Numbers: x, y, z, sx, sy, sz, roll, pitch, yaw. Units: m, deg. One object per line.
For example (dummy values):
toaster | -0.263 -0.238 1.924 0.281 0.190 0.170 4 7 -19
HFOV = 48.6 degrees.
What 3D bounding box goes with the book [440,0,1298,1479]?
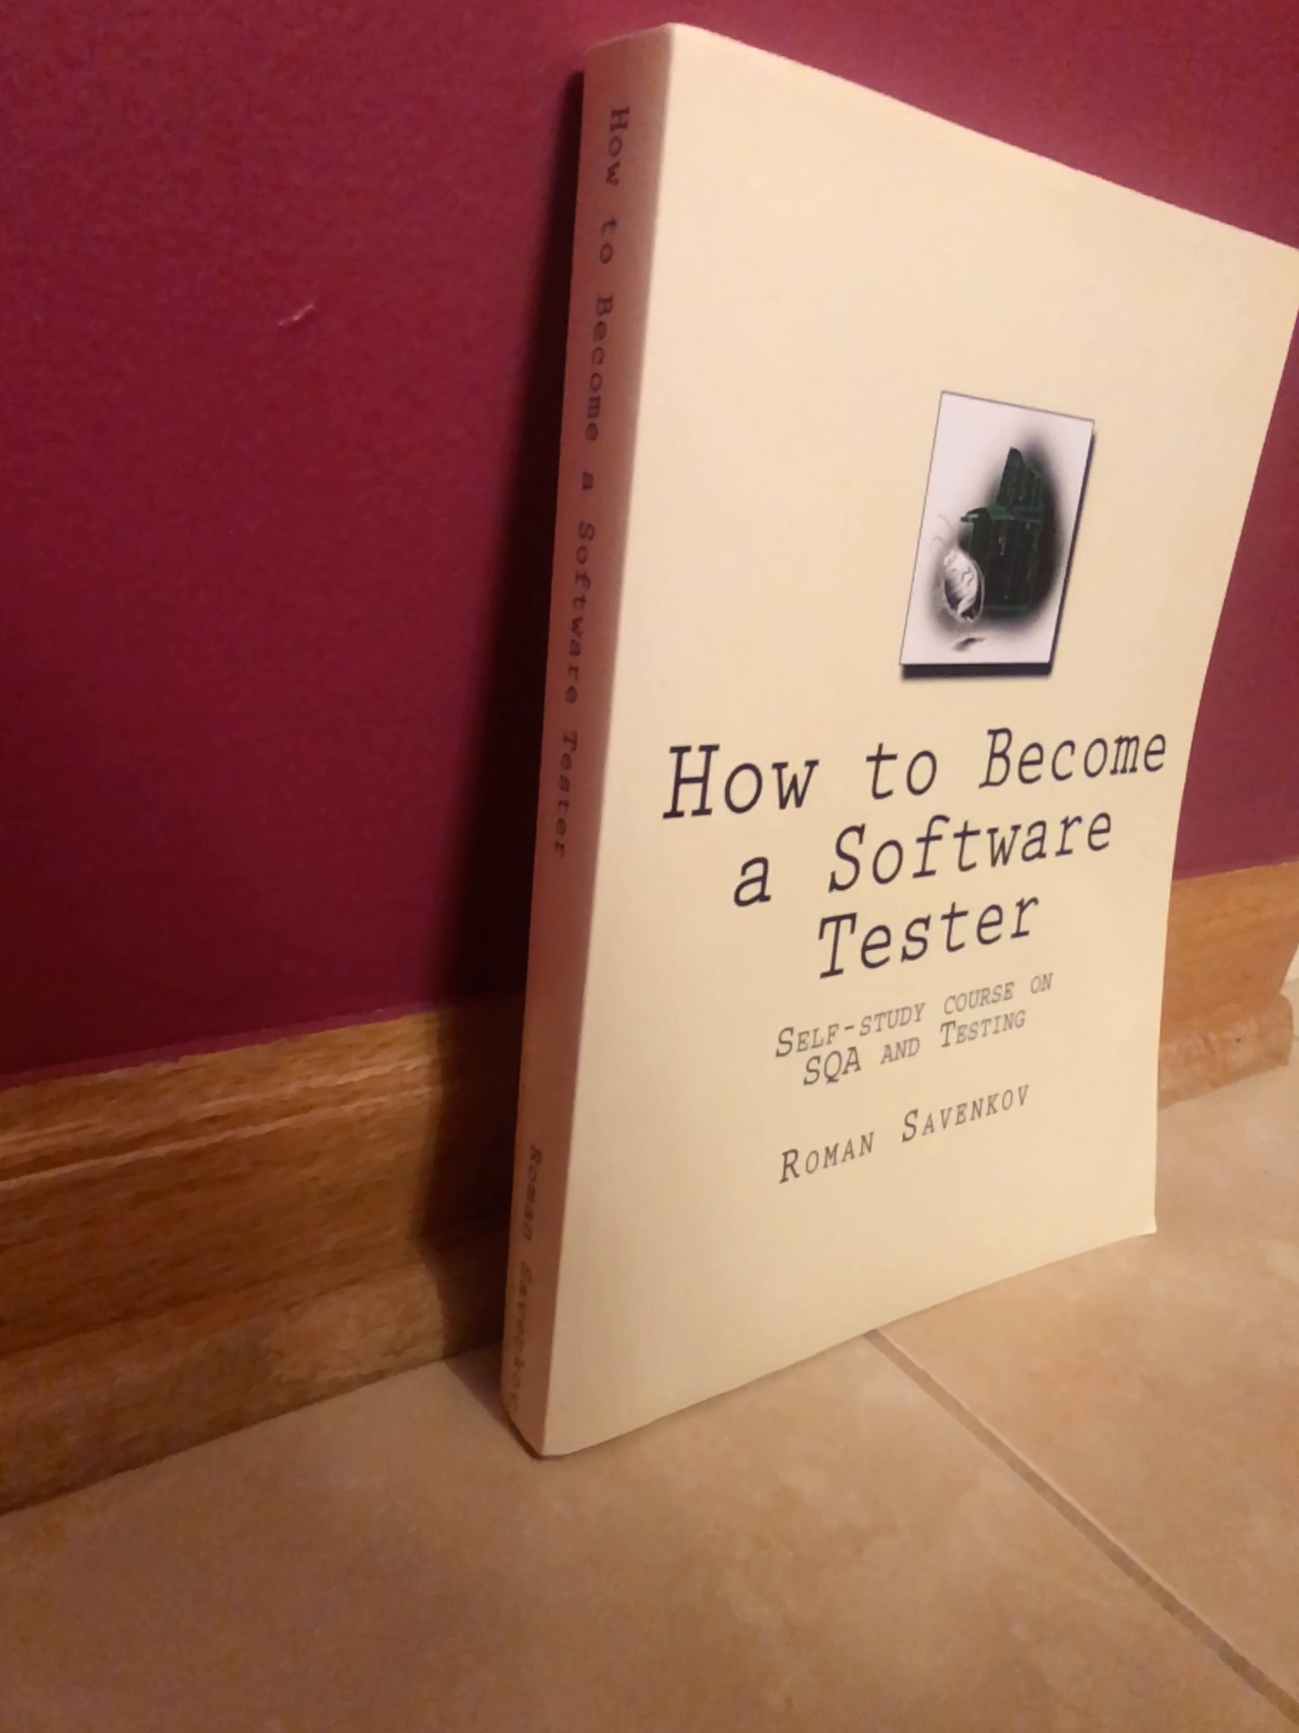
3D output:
book | 0.066 -0.022 0.345 0.221 0.274 0.045 -6 19 -36
